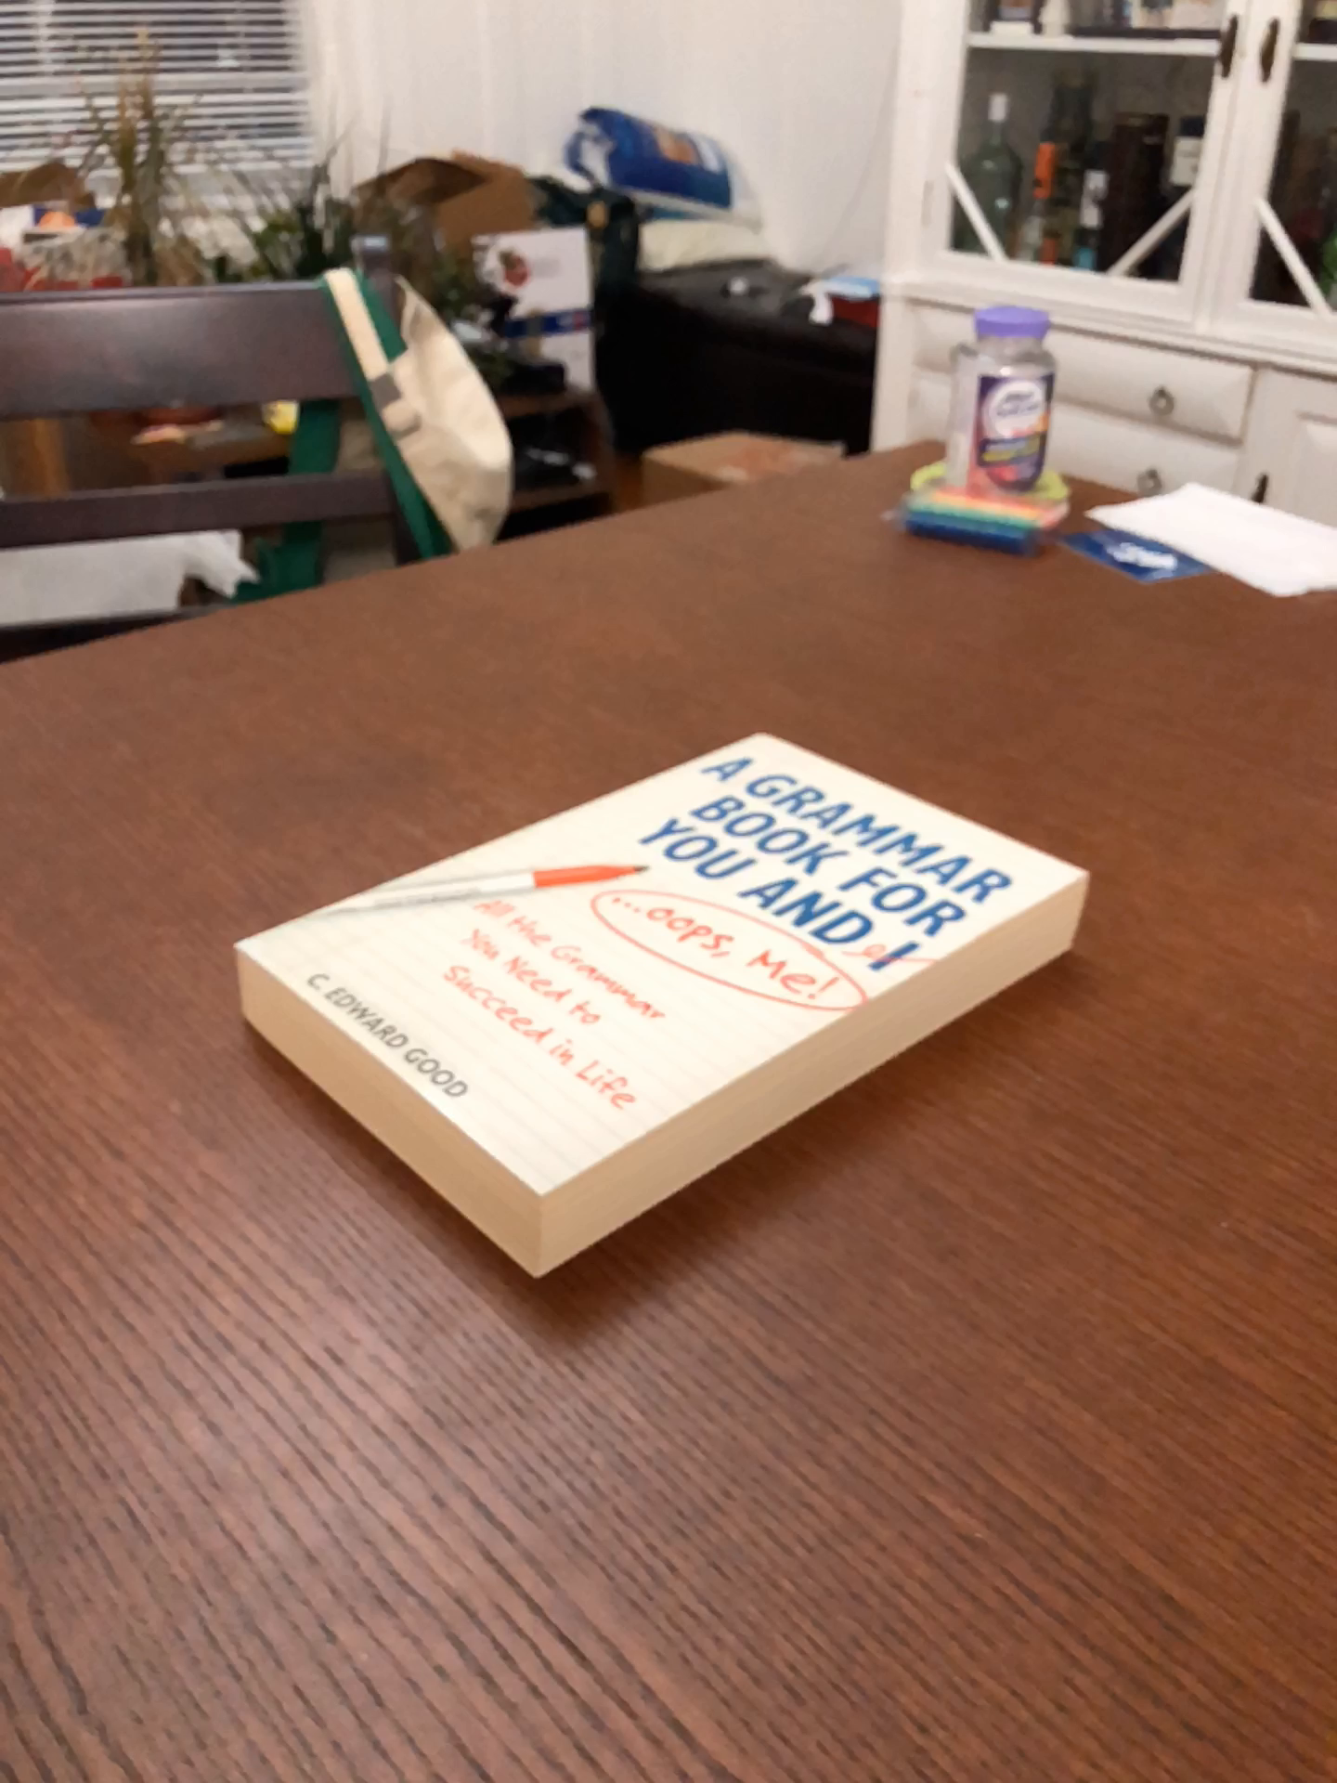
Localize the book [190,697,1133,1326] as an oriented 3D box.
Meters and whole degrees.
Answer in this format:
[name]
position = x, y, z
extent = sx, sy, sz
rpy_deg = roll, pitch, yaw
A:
[book]
position = 0.002, 0.014, 0.472
extent = 0.241, 0.040, 0.170
rpy_deg = -24, 38, -35
